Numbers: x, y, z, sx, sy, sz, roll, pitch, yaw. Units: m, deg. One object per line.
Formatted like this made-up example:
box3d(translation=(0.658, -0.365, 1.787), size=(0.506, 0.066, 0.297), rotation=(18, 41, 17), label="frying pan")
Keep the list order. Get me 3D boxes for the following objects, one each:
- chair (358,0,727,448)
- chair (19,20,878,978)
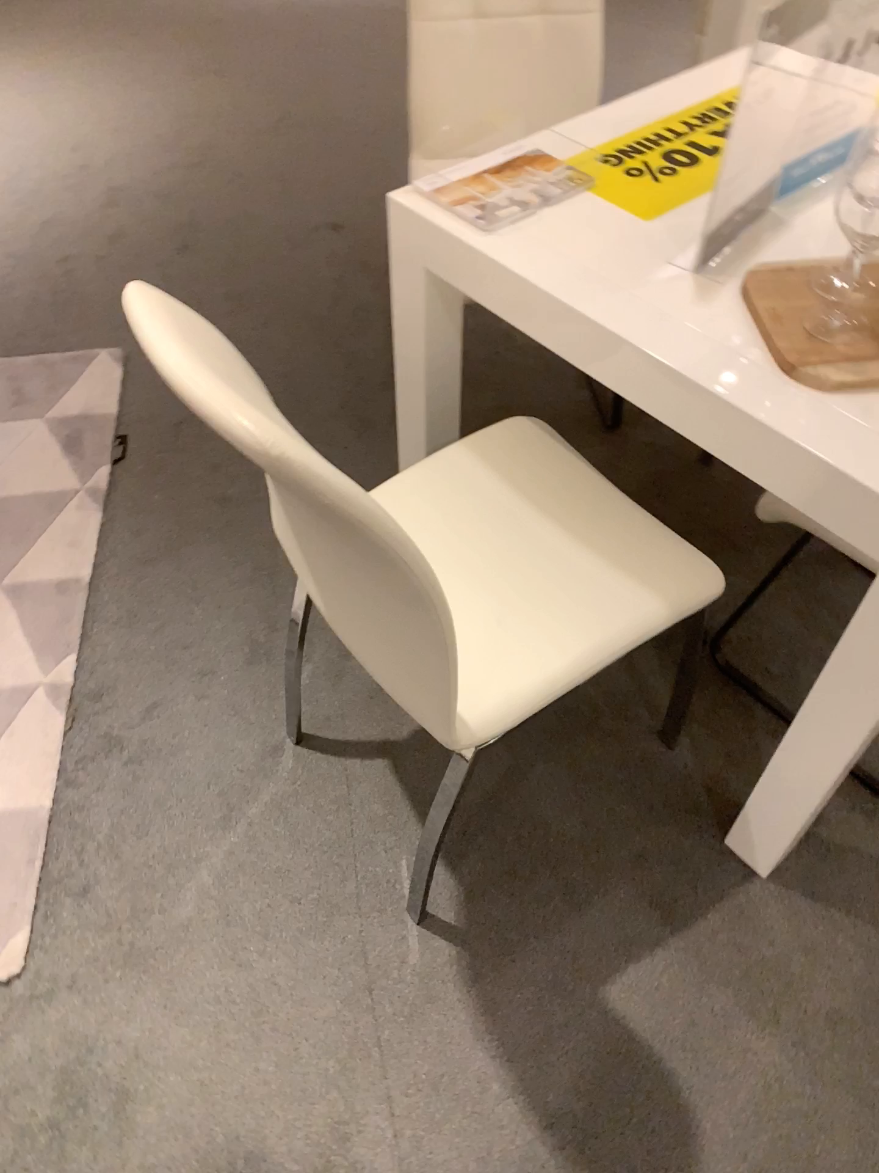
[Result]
box3d(translation=(0.127, -0.823, 1.749), size=(0.477, 0.908, 0.574), rotation=(-5, 51, -4), label="chair")
box3d(translation=(0.031, -0.048, 1.134), size=(0.611, 0.938, 0.490), rotation=(-33, 58, -24), label="chair")
